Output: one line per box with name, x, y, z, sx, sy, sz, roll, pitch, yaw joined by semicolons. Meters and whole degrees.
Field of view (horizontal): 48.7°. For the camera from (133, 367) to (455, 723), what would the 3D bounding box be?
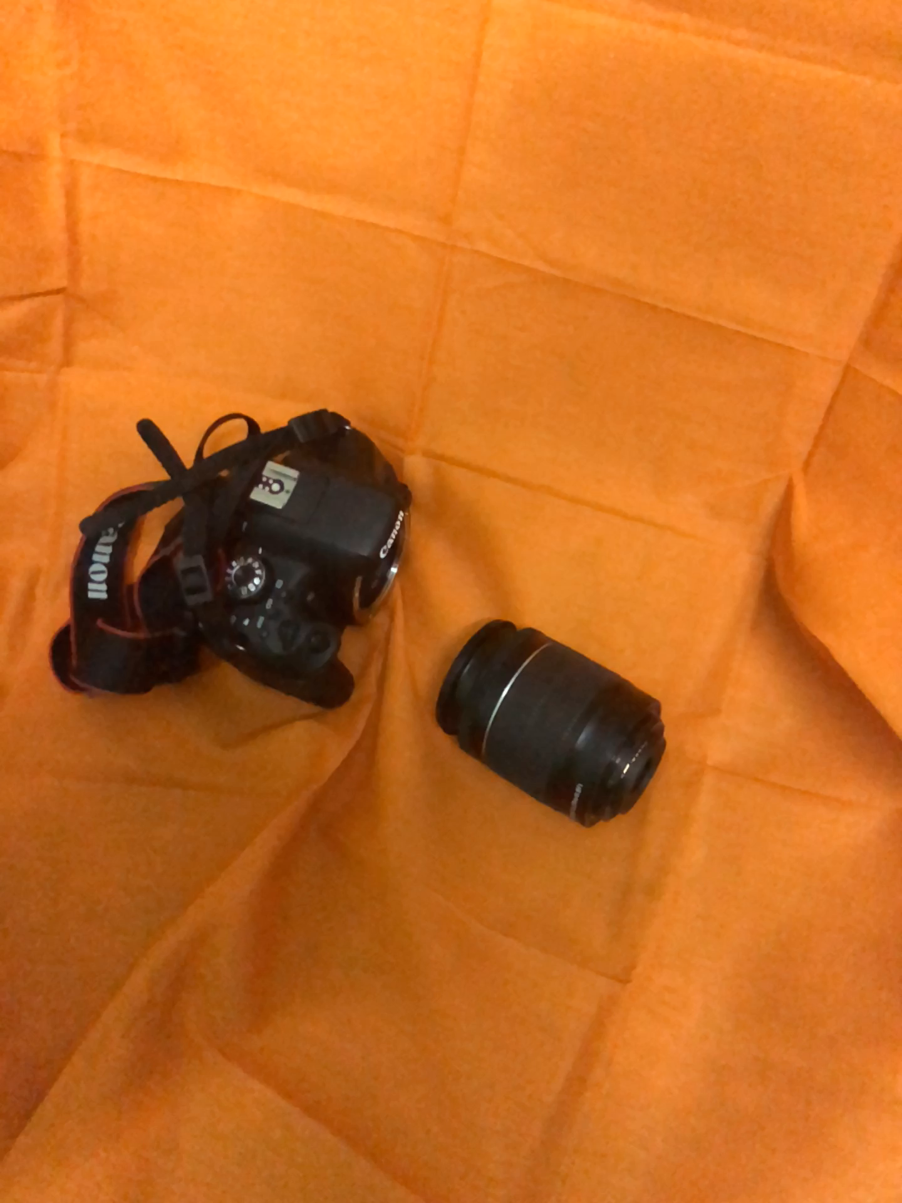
camera;-0.069;-0.027;0.483;0.092;0.071;0.134;20;72;13
